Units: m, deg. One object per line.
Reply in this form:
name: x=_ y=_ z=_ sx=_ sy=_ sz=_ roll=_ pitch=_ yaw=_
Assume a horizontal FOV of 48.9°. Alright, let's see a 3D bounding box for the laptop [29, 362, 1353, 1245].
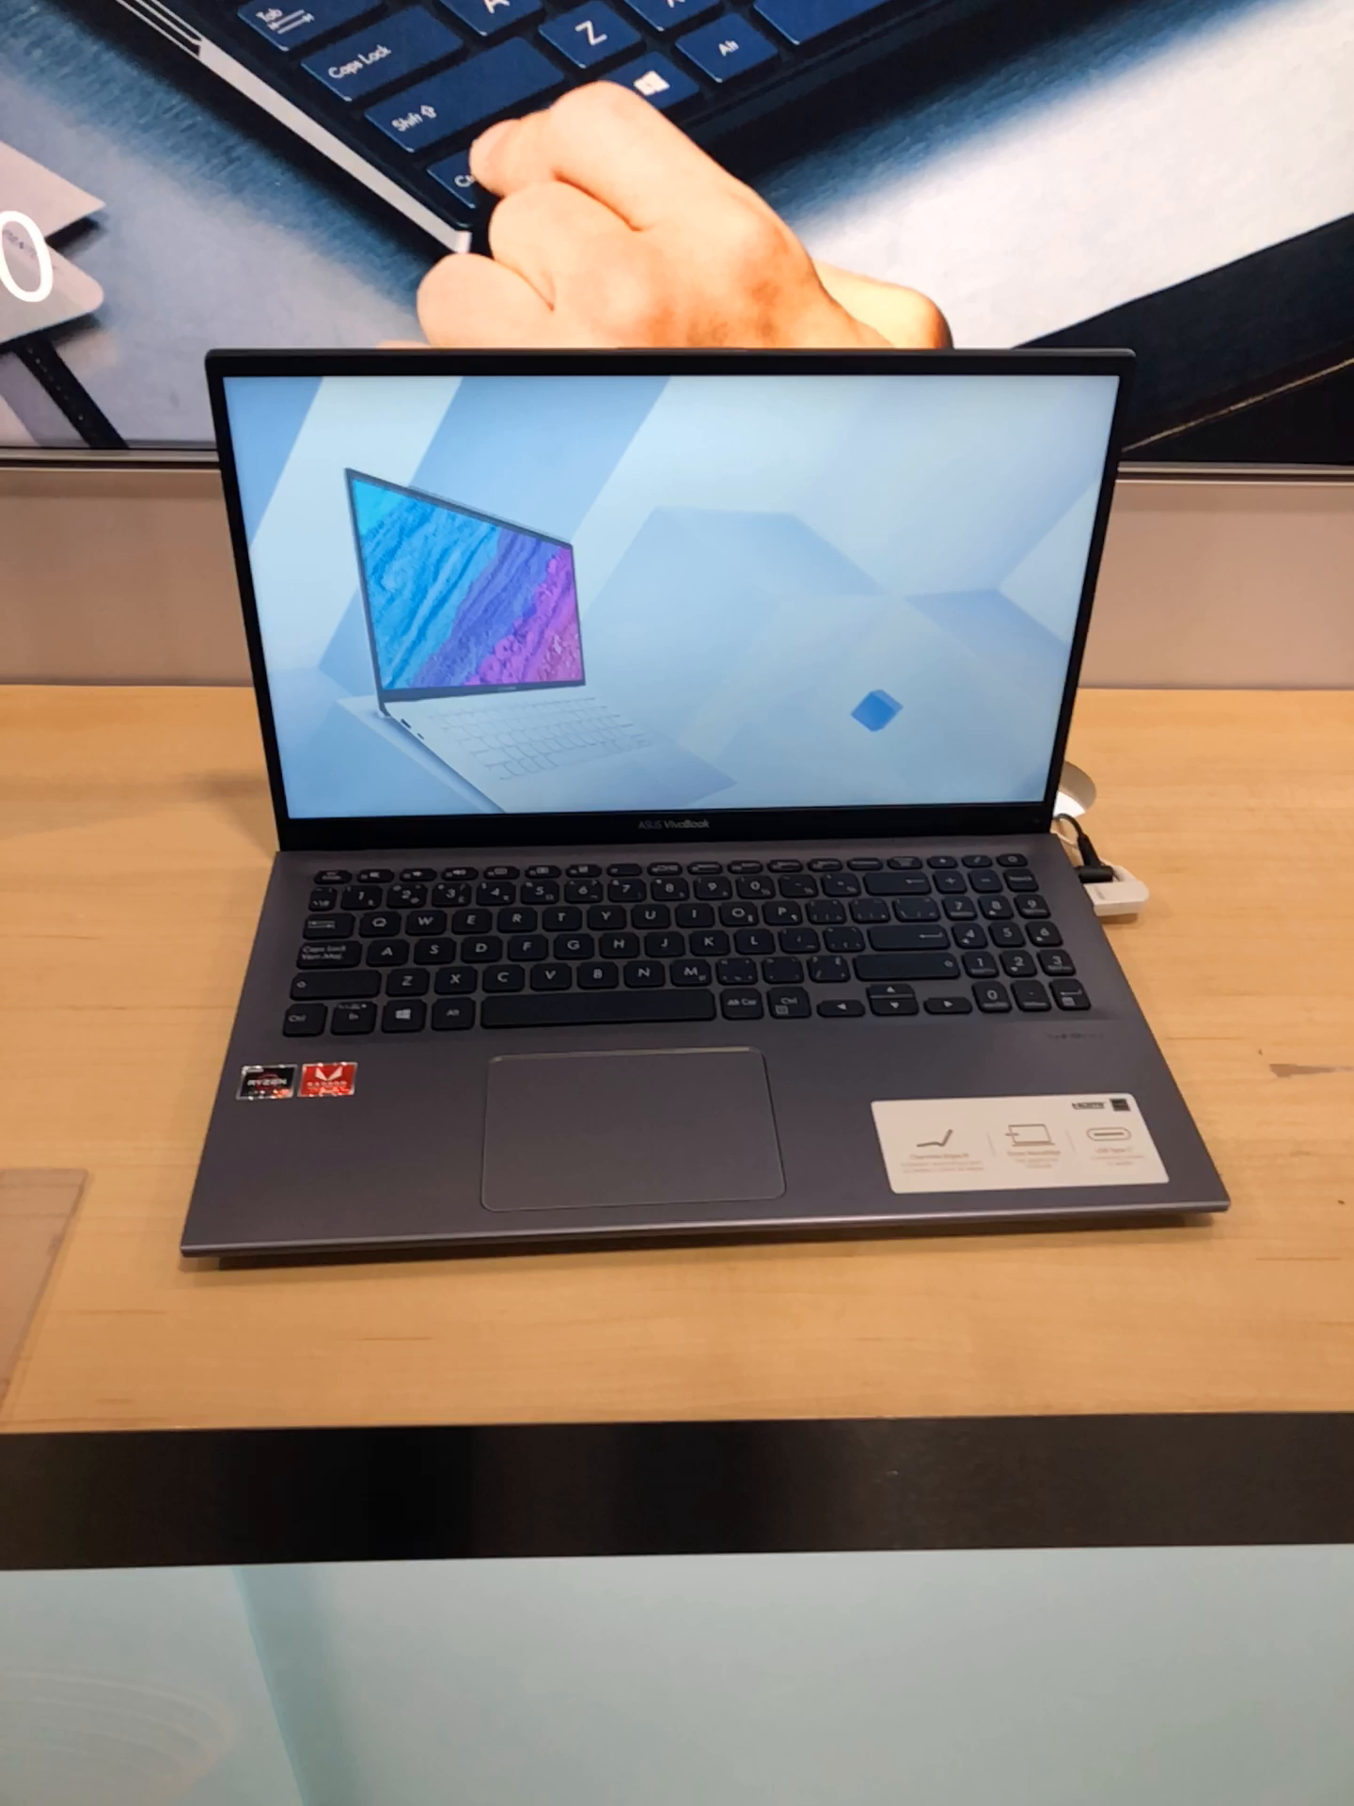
laptop: x=0.009 y=-0.047 z=0.527 sx=0.349 sy=0.211 sz=0.243 roll=-1 pitch=37 yaw=-3
